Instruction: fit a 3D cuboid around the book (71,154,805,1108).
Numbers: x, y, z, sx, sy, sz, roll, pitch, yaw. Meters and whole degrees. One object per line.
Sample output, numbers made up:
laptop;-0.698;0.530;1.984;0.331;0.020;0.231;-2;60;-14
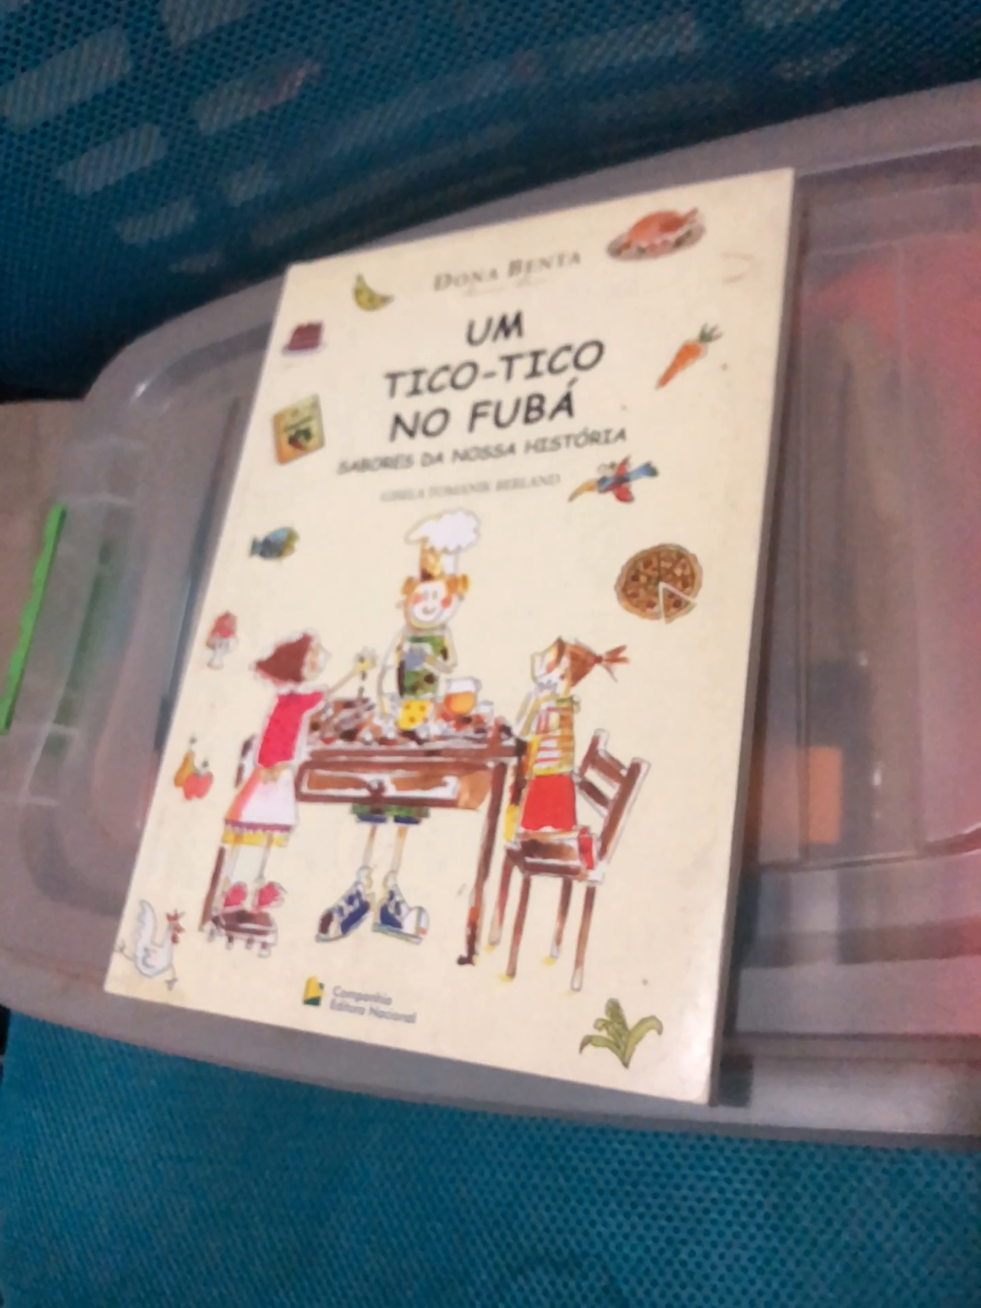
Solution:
book;-0.012;-0.017;0.296;0.172;0.020;0.233;0;69;26
